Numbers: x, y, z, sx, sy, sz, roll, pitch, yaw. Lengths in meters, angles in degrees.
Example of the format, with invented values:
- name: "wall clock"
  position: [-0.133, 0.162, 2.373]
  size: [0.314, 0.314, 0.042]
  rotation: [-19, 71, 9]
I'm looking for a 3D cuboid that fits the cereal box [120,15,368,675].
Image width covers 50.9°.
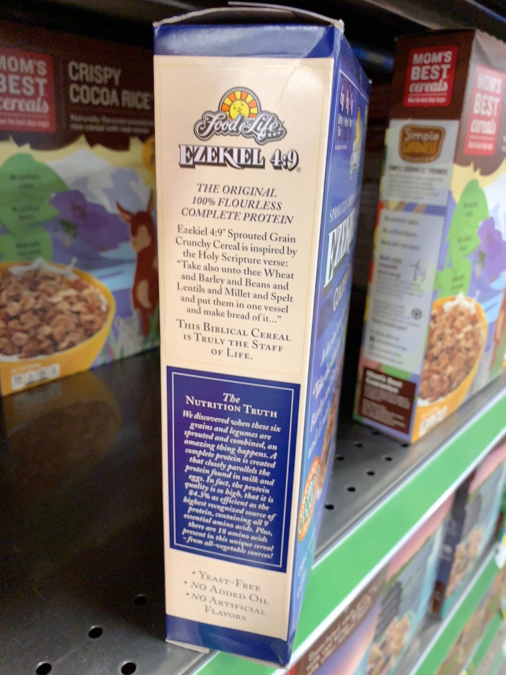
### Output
- name: "cereal box"
  position: [0.008, 0.001, 0.263]
  size: [0.060, 0.249, 0.161]
  rotation: [7, 21, 14]
